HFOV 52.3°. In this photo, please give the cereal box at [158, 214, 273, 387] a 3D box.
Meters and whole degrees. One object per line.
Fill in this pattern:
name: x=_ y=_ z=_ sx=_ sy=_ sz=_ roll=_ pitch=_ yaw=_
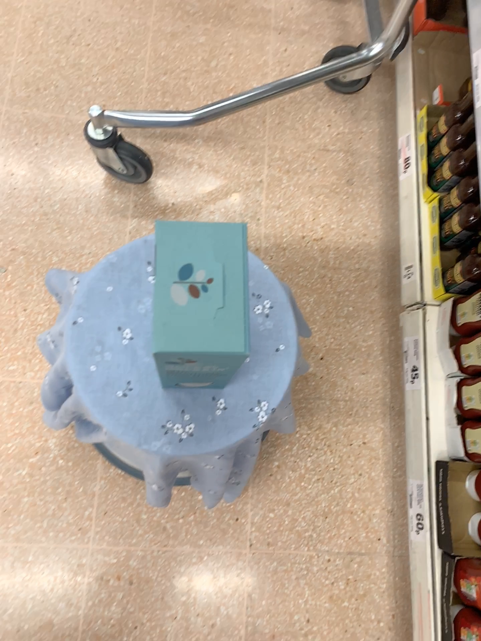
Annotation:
cereal box: x=-0.037 y=-0.003 z=0.512 sx=0.090 sy=0.239 sz=0.120 roll=-1 pitch=77 yaw=-8
